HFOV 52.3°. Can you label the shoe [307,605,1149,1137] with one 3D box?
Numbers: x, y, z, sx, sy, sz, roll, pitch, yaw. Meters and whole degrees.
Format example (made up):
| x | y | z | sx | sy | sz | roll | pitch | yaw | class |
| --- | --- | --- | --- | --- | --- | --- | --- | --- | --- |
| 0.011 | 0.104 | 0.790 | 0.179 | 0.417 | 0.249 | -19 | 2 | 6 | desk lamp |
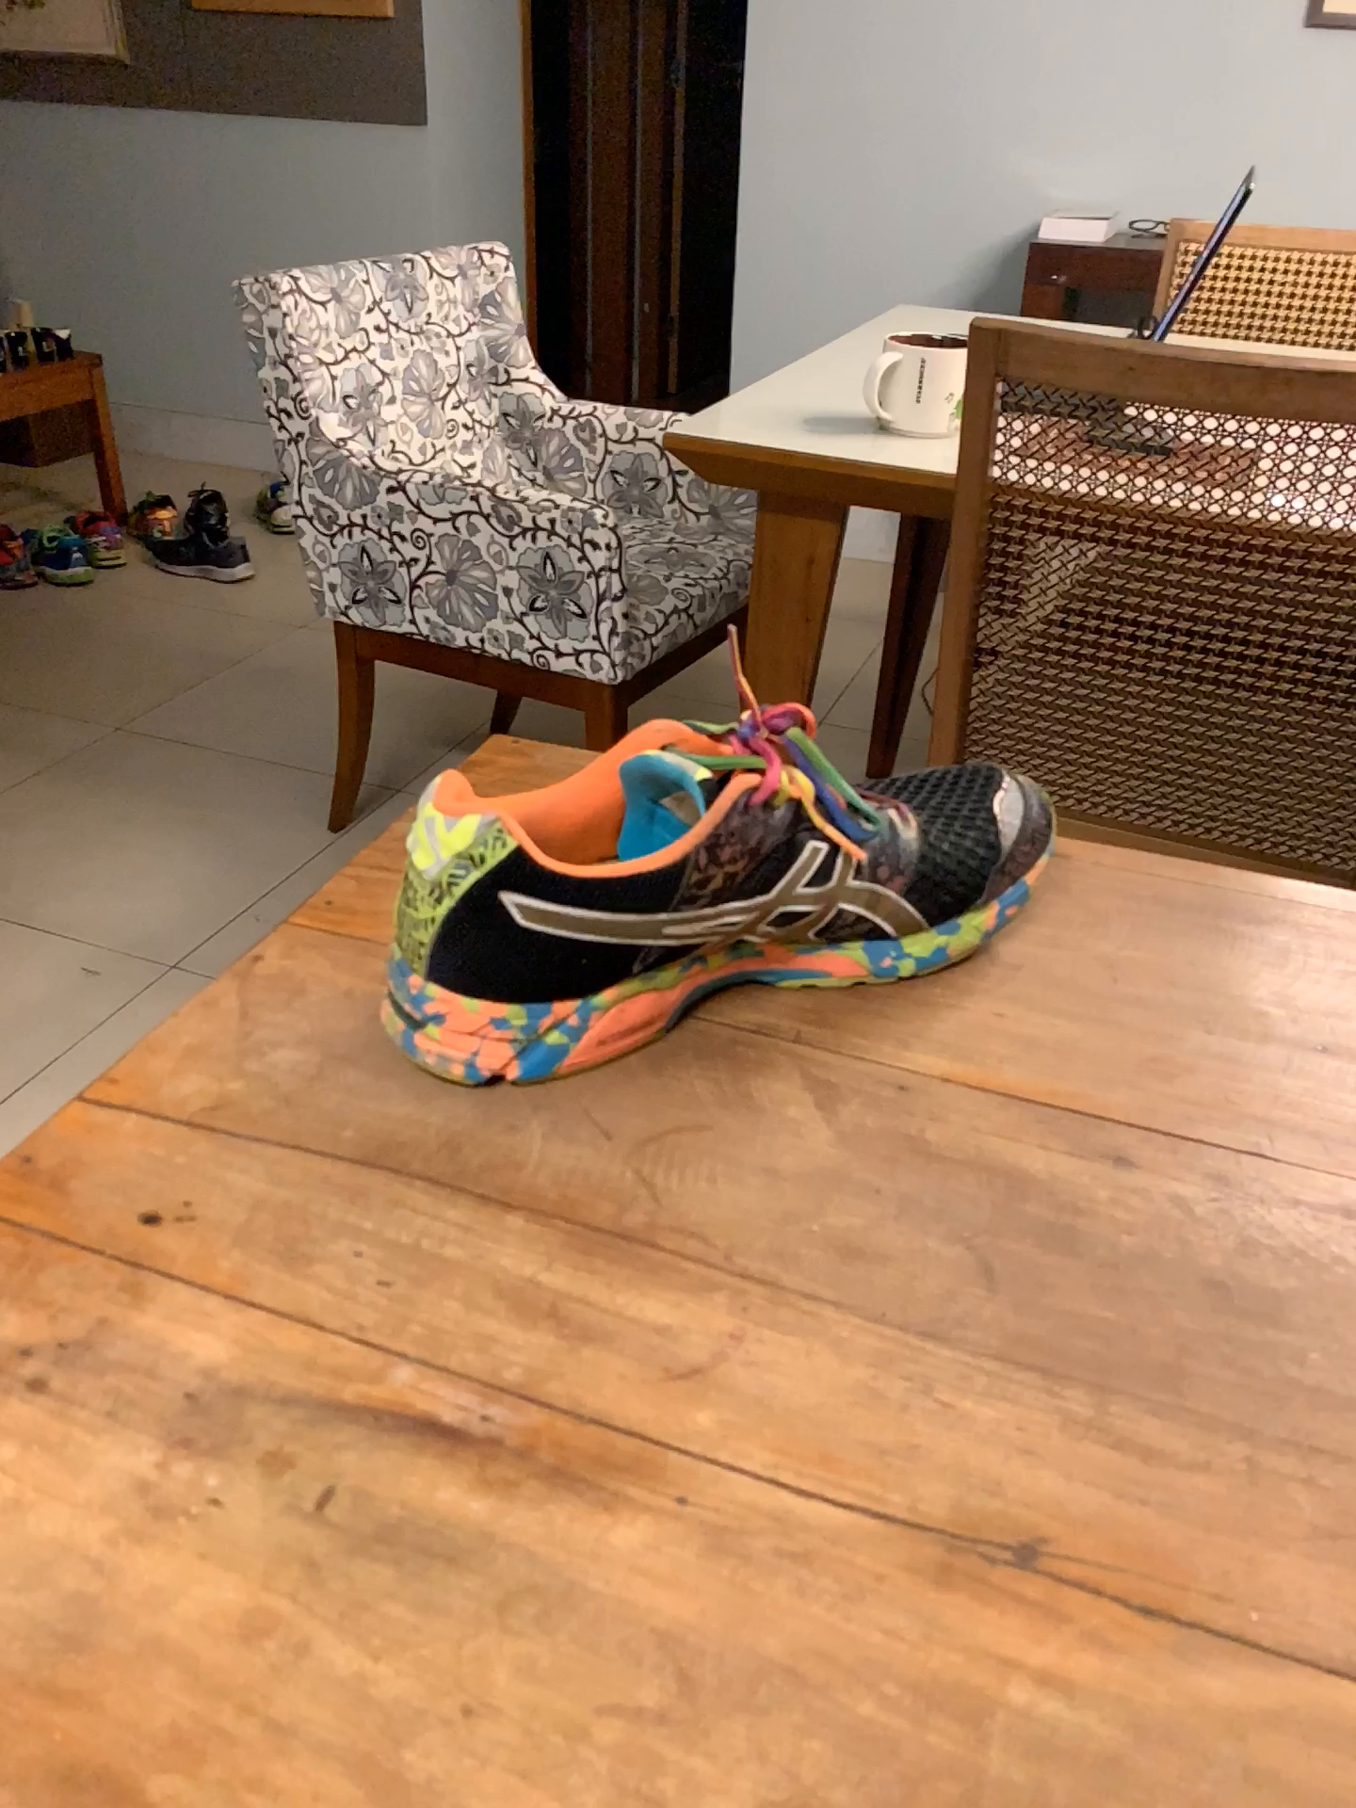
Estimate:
| x | y | z | sx | sy | sz | roll | pitch | yaw | class |
| --- | --- | --- | --- | --- | --- | --- | --- | --- | --- |
| 0.026 | -0.028 | 0.559 | 0.313 | 0.112 | 0.108 | -15 | 35 | -25 | shoe |
